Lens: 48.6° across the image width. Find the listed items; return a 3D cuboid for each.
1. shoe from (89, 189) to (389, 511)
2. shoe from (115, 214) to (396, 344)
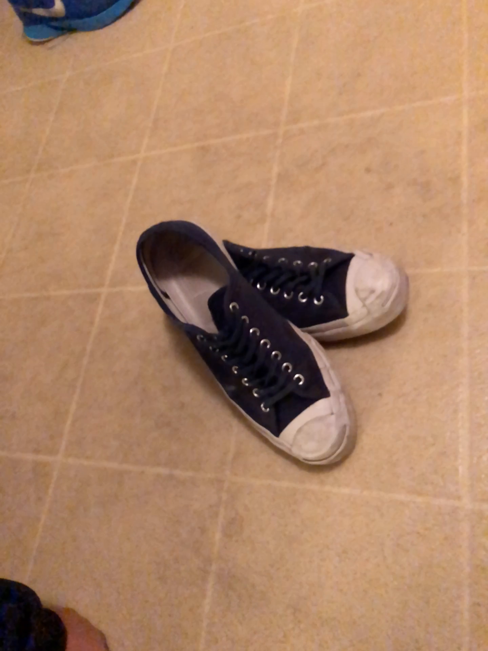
[{"bbox_3d":[-0.005,0.013,0.523,0.100,0.100,0.290,-44,79,22],"label":"shoe"},{"bbox_3d":[0.014,-0.047,0.597,0.290,0.080,0.110,1,71,18],"label":"shoe"}]
